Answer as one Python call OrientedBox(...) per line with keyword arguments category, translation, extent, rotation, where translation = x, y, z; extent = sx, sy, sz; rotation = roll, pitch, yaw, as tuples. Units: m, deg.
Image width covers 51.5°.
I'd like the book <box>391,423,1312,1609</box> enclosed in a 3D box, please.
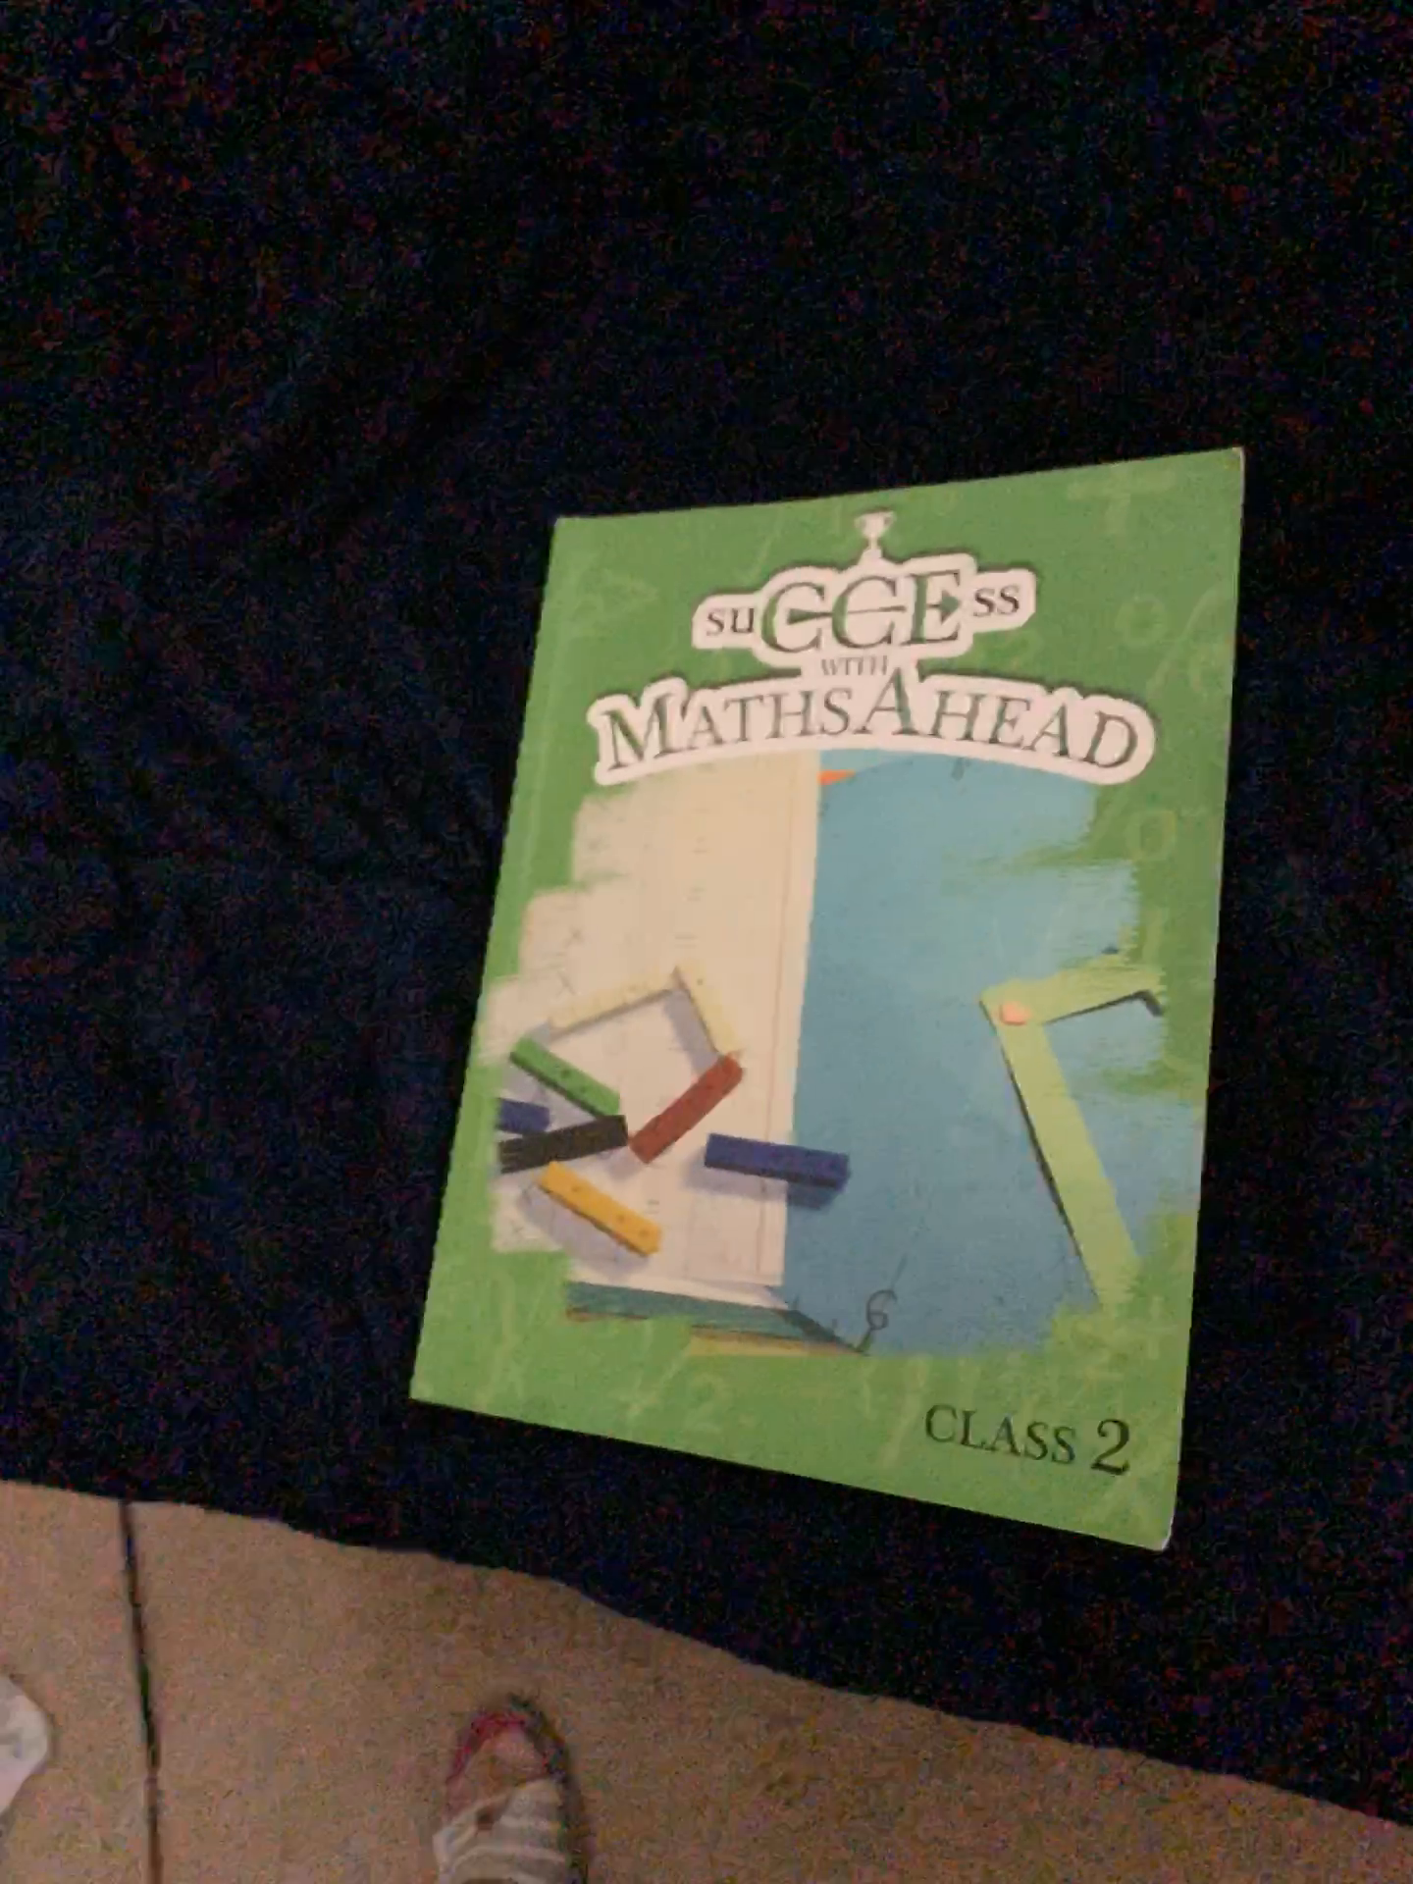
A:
OrientedBox(category="book", translation=(0.033, 0.006, 0.401), extent=(0.231, 0.020, 0.280), rotation=(3, 81, 26))
